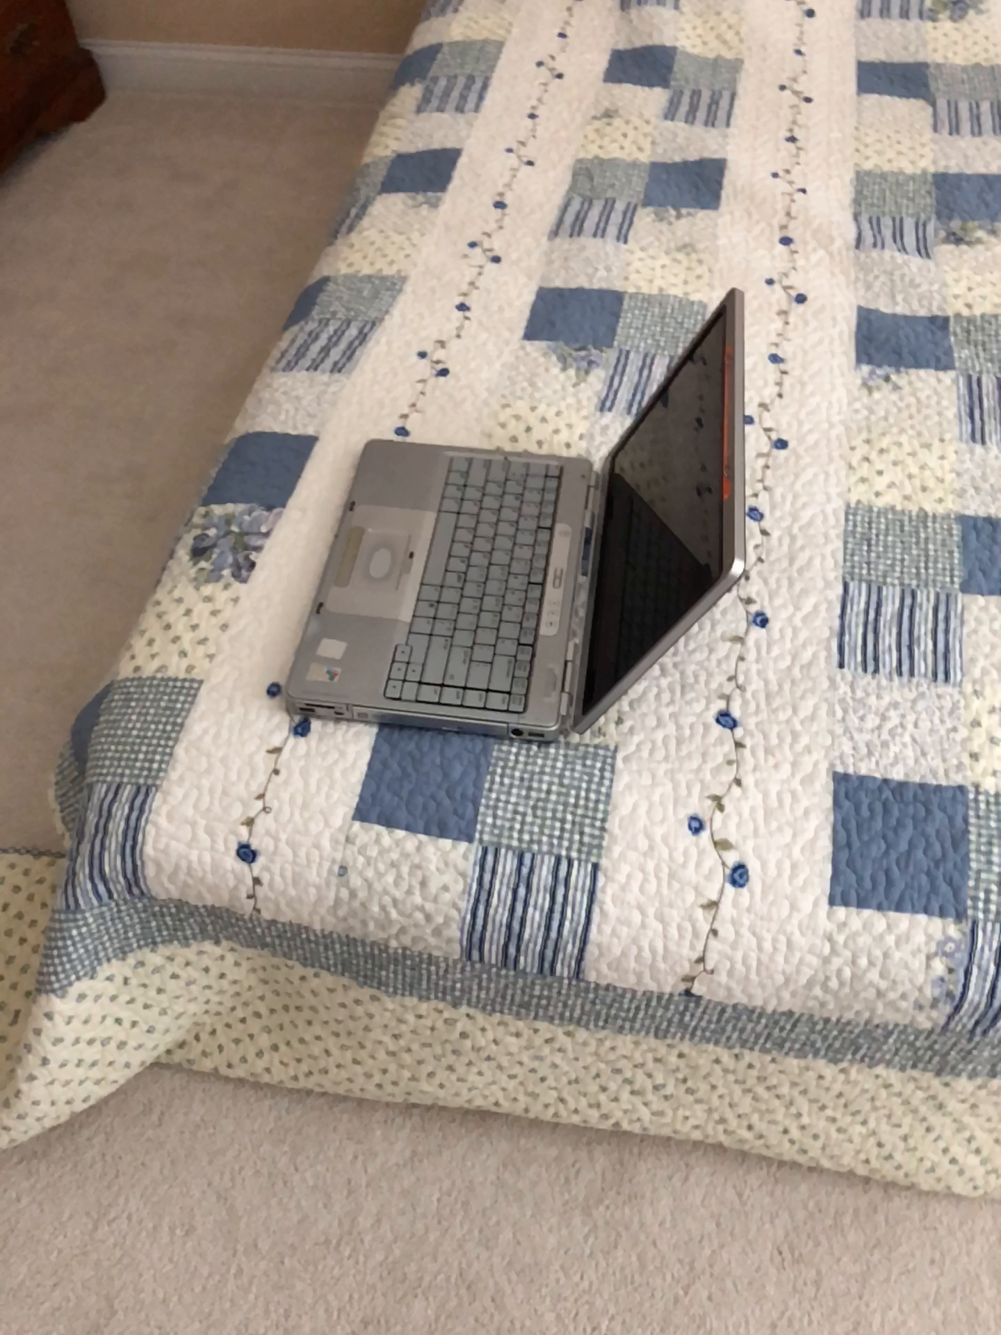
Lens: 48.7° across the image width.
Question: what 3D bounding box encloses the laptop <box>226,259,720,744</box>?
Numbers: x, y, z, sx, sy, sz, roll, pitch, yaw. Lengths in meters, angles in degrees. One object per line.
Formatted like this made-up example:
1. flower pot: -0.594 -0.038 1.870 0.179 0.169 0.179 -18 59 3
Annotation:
1. laptop: 0.003 -0.145 0.908 0.326 0.193 0.323 6 51 5
